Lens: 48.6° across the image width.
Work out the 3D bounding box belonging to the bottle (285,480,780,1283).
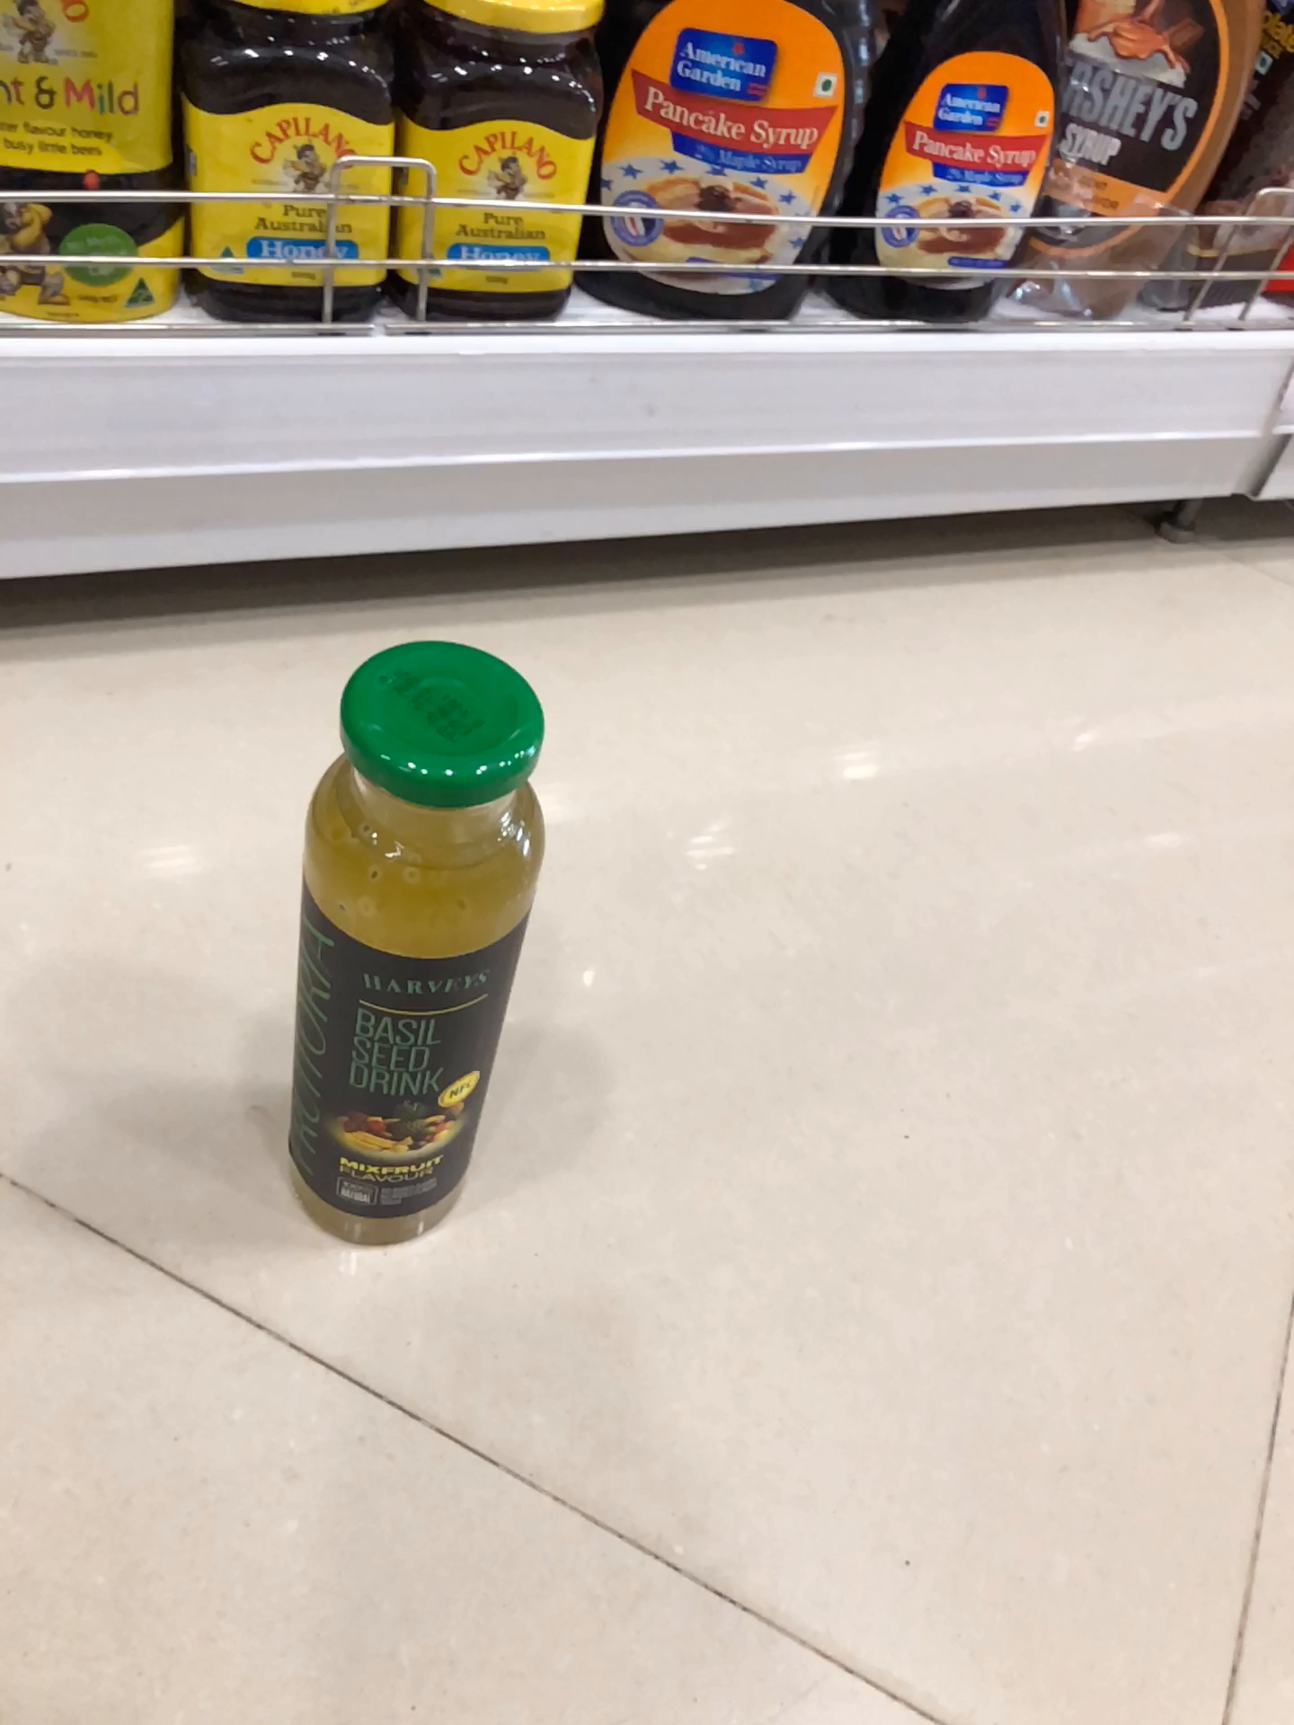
[{"bbox_3d":[-0.037,0.020,0.341,0.080,0.199,0.070,8,48,-9],"label":"bottle"}]
